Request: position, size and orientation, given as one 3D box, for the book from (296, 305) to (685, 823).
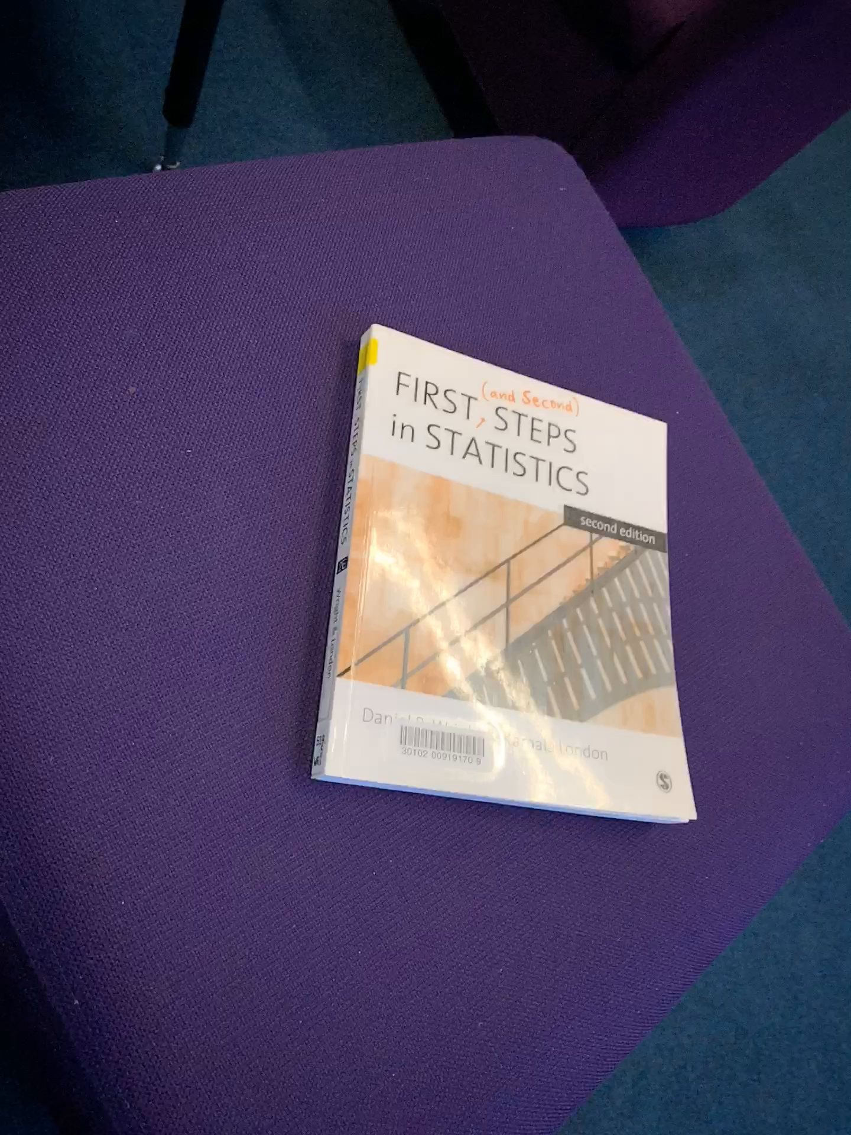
[{"bbox_3d":[0.042,-0.002,0.437,0.189,0.022,0.229,14,64,-23],"label":"book"}]
